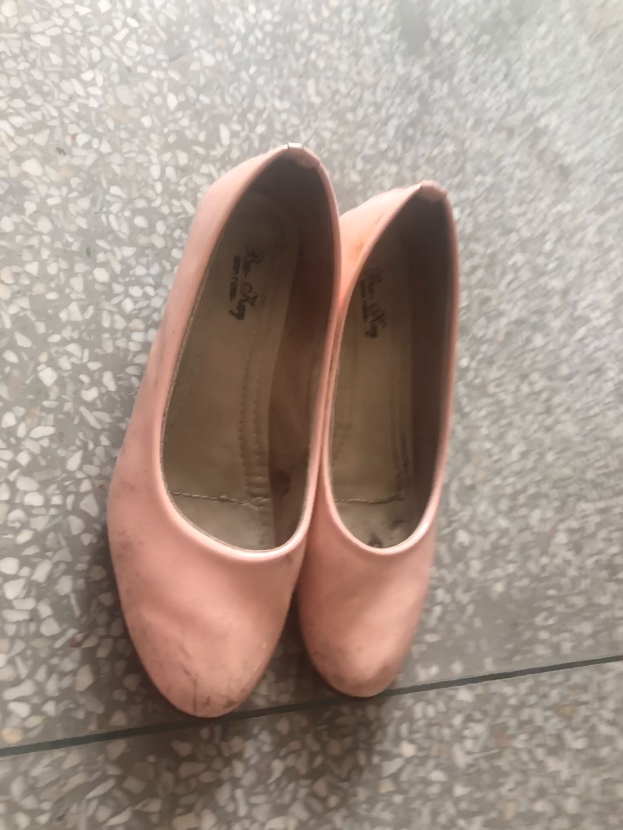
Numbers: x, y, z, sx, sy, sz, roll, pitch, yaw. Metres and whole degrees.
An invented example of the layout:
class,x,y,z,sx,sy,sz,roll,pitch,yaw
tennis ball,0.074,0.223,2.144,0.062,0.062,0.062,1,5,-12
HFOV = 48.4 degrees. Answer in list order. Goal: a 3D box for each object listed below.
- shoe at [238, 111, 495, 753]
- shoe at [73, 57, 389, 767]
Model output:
class,x,y,z,sx,sy,sz,roll,pitch,yaw
shoe,0.028,0.006,0.329,0.090,0.070,0.260,8,79,-28
shoe,-0.036,0.001,0.304,0.090,0.070,0.260,8,86,-28
